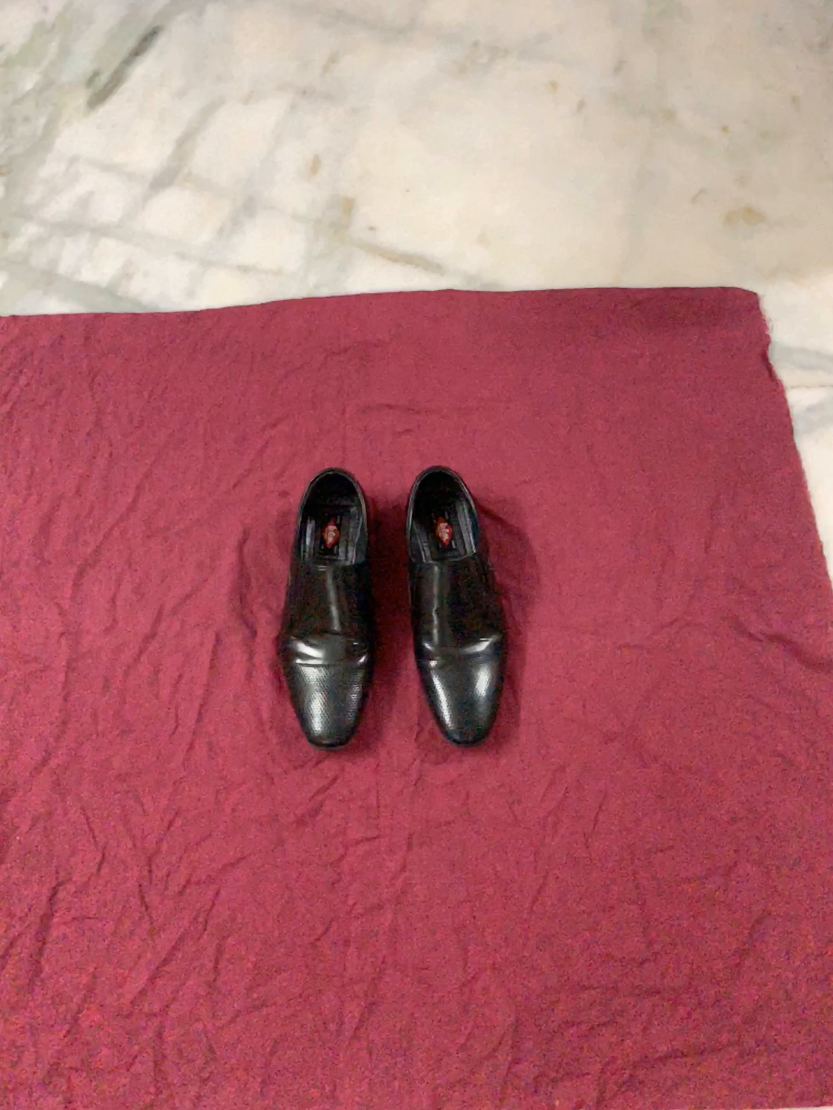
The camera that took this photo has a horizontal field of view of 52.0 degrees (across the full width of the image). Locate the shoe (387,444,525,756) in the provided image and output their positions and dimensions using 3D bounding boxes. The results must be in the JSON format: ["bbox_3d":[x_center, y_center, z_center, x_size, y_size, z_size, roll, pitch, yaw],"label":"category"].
[{"bbox_3d":[0.033,0.042,0.861,0.100,0.100,0.291,-5,65,-1],"label":"shoe"}]

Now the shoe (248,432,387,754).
[{"bbox_3d":[-0.089,0.034,0.847,0.100,0.100,0.301,2,65,2],"label":"shoe"}]
